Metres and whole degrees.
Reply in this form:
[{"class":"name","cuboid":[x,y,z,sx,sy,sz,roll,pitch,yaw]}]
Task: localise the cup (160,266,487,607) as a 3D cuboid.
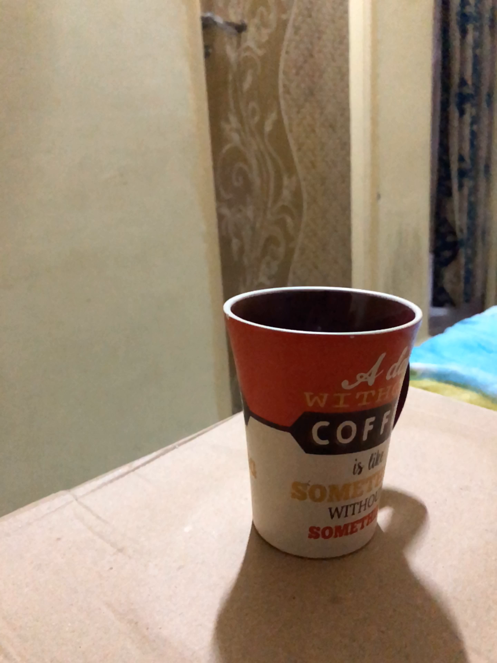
[{"class":"cup","cuboid":[0.043,0.034,0.286,0.131,0.110,0.100,-18,21,-42]}]
